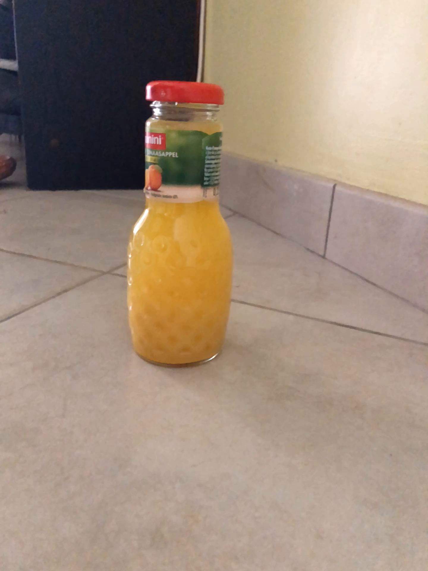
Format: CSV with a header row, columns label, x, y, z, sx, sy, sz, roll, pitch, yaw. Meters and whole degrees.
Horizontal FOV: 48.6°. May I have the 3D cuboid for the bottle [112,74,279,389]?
label,x,y,z,sx,sy,sz,roll,pitch,yaw
bottle,-0.016,-0.034,0.277,0.060,0.159,0.070,-11,24,-33
